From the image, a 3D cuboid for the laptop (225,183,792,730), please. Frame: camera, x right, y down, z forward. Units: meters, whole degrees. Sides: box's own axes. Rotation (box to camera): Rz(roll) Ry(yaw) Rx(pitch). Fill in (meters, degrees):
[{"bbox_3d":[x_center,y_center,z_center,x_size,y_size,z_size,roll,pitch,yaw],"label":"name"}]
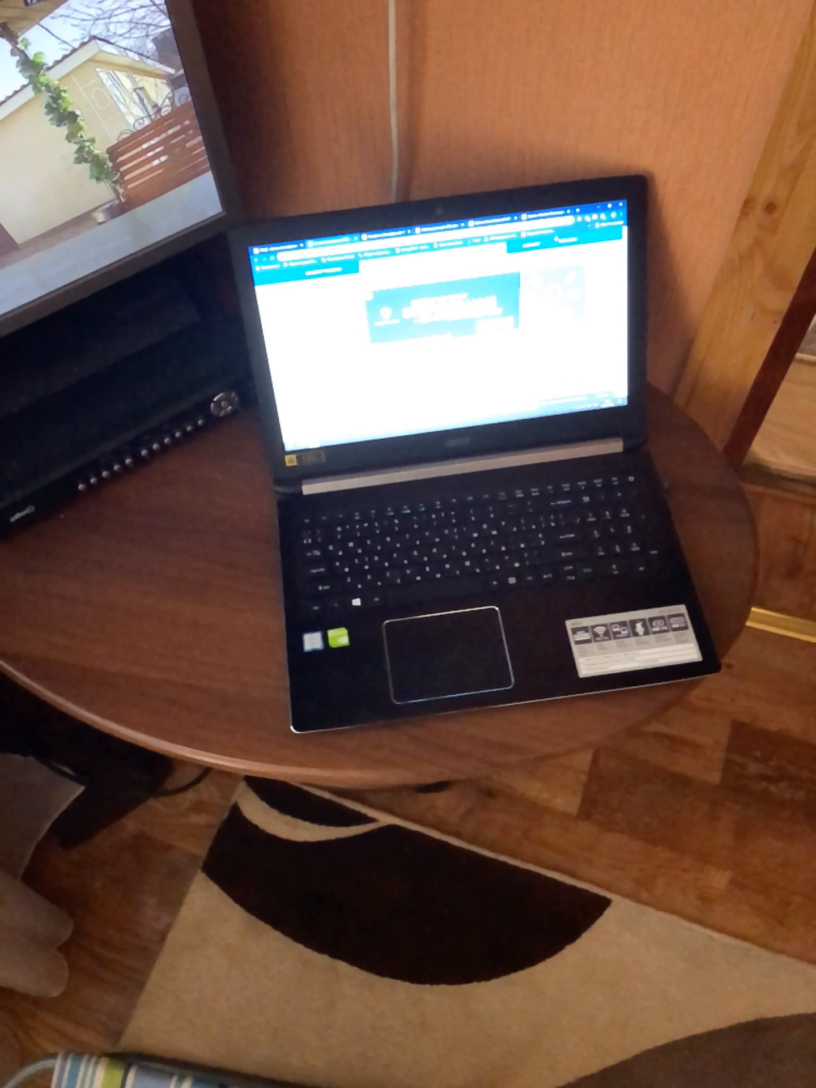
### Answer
[{"bbox_3d":[0.056,-0.085,0.785,0.372,0.186,0.391,-8,60,-3],"label":"laptop"}]
